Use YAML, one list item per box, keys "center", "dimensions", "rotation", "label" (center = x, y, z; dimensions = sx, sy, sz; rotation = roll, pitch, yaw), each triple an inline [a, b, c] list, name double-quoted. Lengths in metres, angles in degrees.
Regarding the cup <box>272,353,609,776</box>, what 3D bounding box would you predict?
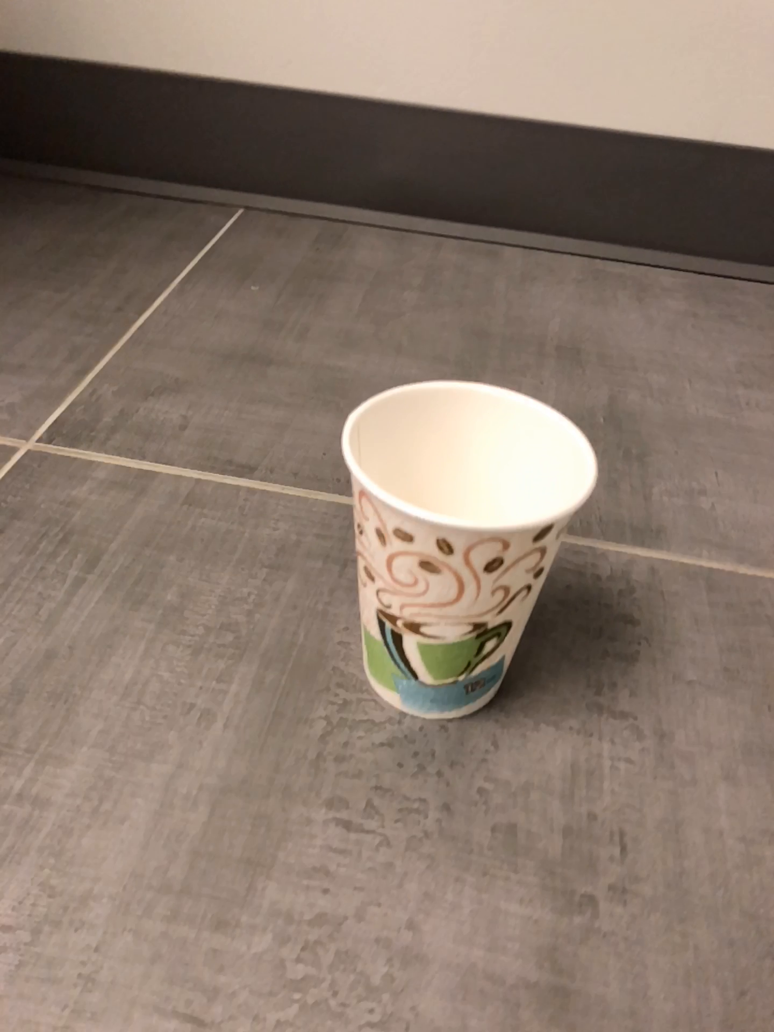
- center: [0.020, 0.014, 0.326]
  dimensions: [0.090, 0.100, 0.100]
  rotation: [17, 39, 13]
  label: "cup"
